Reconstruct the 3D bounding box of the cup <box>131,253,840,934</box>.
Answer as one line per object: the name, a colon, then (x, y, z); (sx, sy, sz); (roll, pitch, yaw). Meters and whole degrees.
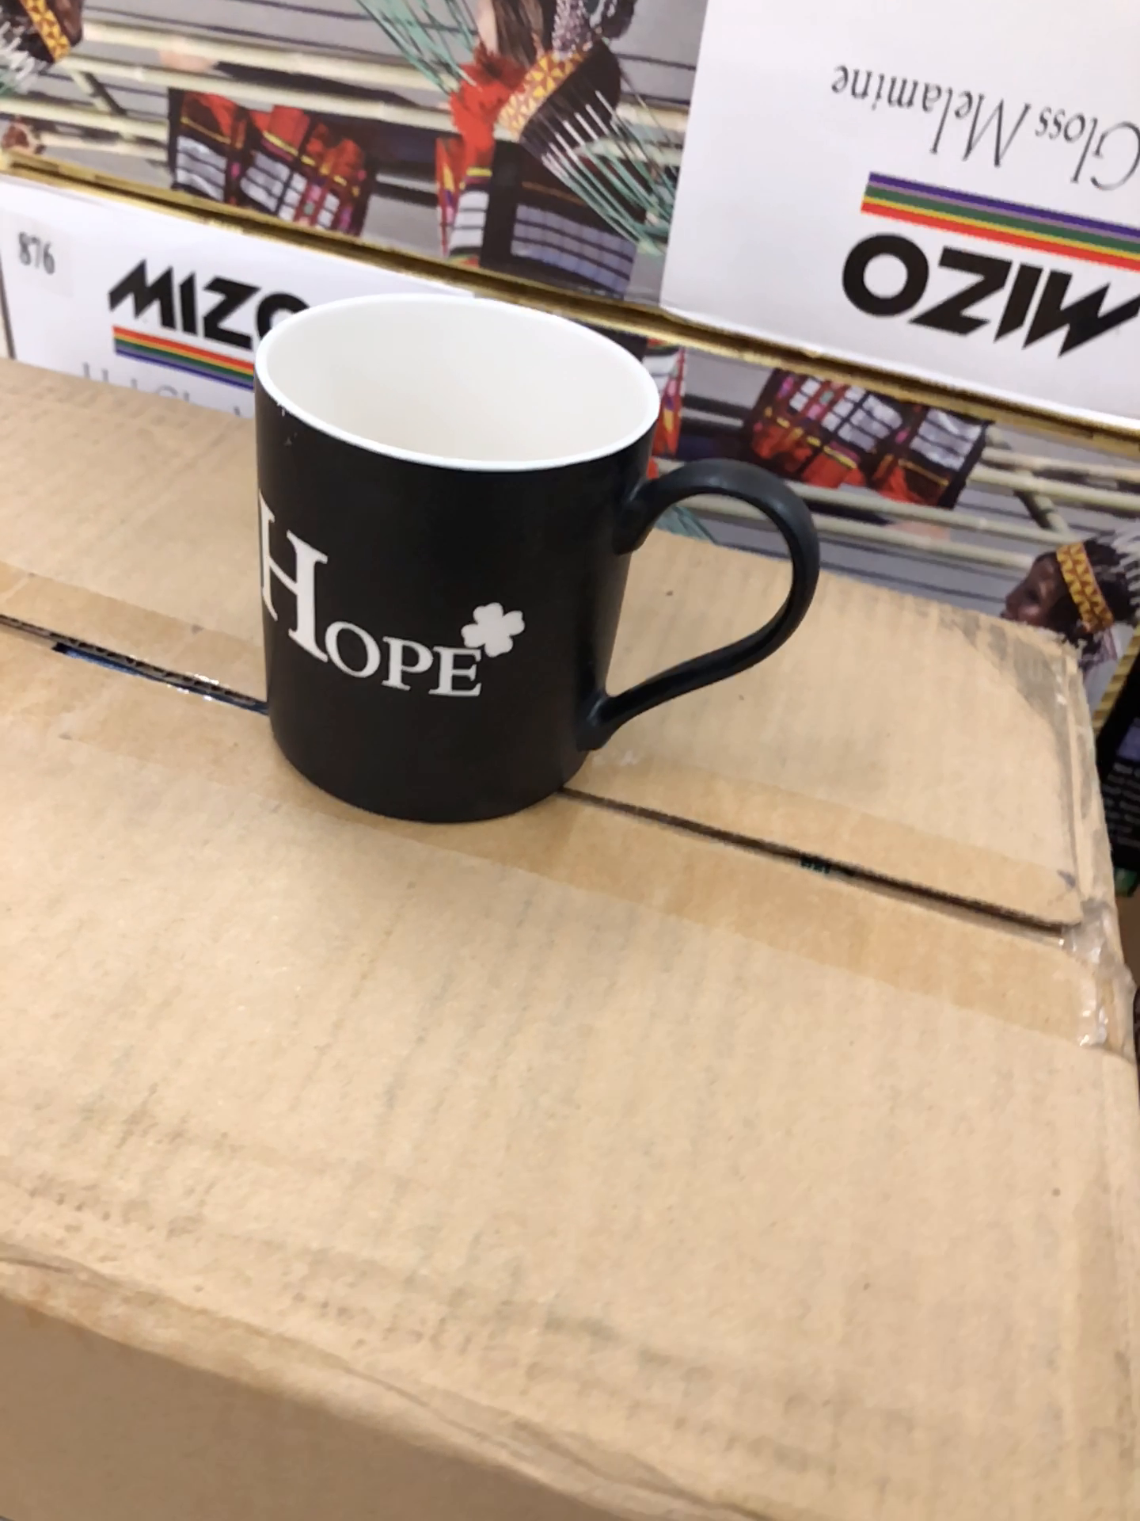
cup: (-0.014, -0.039, 0.278); (0.120, 0.089, 0.091); (14, 39, 4)
